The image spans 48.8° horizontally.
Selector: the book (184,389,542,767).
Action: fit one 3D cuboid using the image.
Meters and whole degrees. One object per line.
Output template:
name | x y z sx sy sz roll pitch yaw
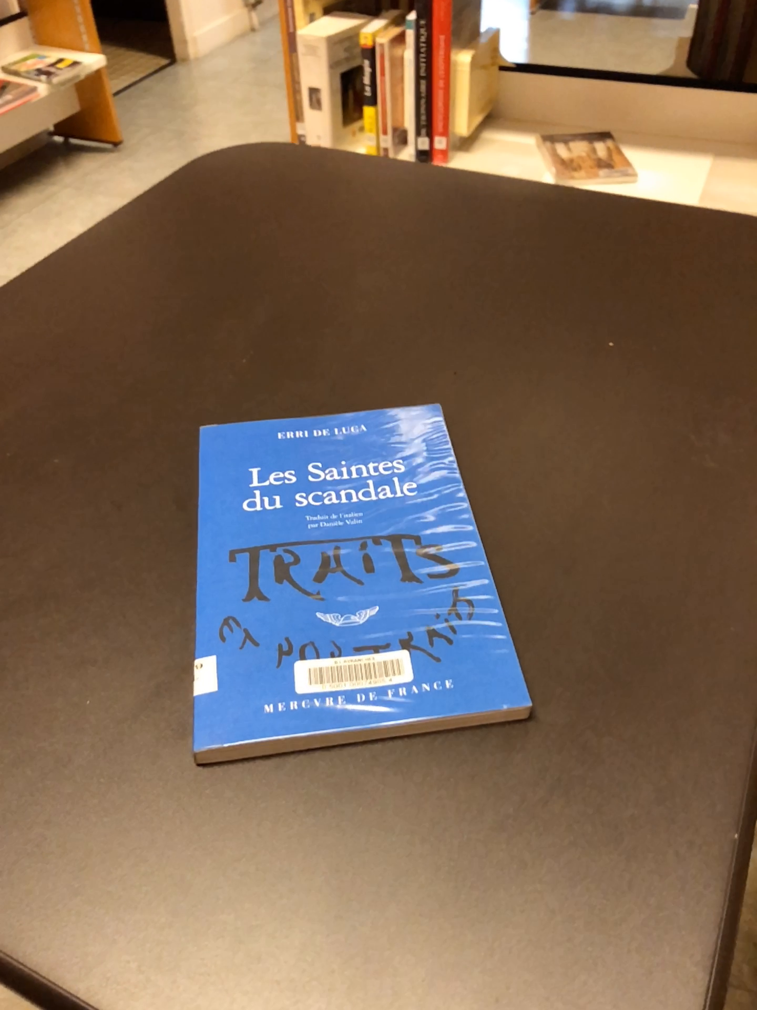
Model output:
book | -0.019 0.019 0.416 0.144 0.017 0.216 -6 43 -5
